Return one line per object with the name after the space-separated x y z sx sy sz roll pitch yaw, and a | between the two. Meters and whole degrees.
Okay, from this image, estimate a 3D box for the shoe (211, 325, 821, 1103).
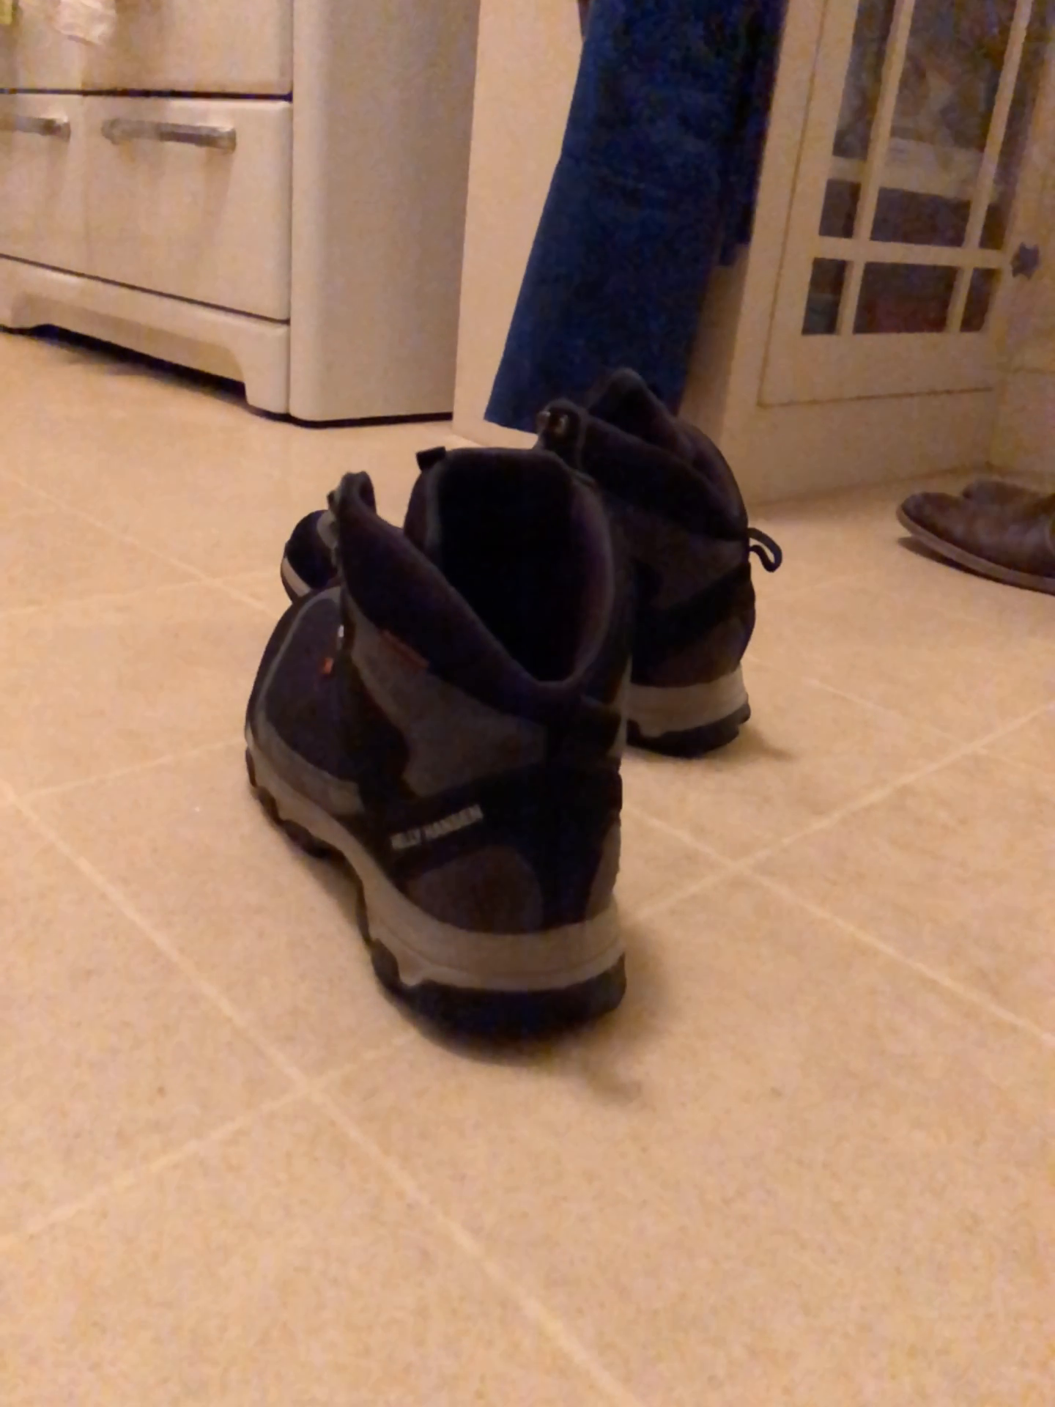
-0.042 -0.031 0.477 0.126 0.195 0.310 -4 25 -23 | shoe

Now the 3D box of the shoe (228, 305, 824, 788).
-0.012 -0.103 0.655 0.299 0.195 0.117 16 24 22 | shoe
